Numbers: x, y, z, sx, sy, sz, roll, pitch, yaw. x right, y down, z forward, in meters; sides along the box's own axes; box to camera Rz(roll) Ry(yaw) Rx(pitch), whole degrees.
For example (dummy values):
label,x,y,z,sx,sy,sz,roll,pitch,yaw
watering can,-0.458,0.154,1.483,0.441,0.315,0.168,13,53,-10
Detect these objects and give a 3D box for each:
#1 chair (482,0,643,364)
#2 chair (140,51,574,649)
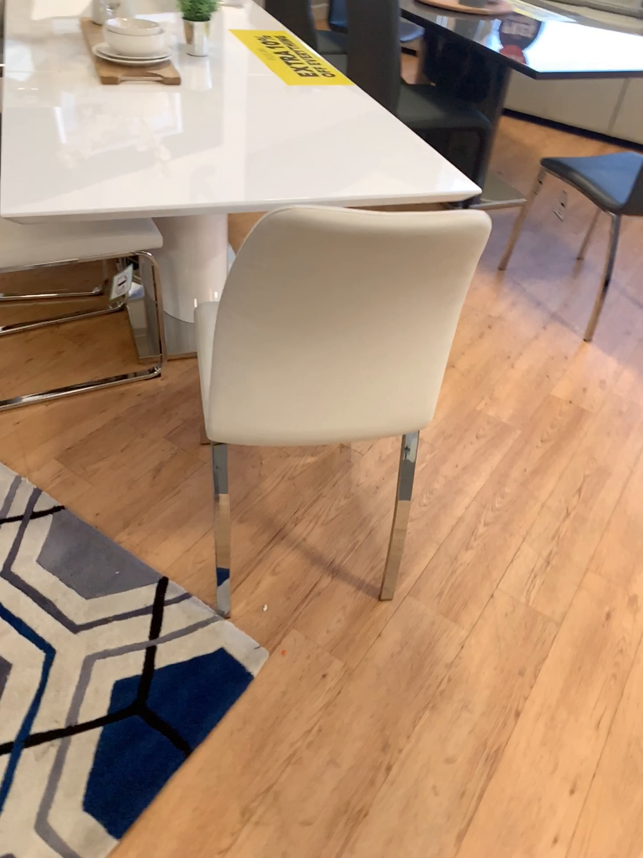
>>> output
label,x,y,z,sx,sy,sz,roll,pitch,yaw
chair,1.061,-0.850,2.175,0.521,0.951,0.716,-11,44,-19
chair,-0.032,-0.136,1.256,0.490,0.882,0.676,-2,42,-9
